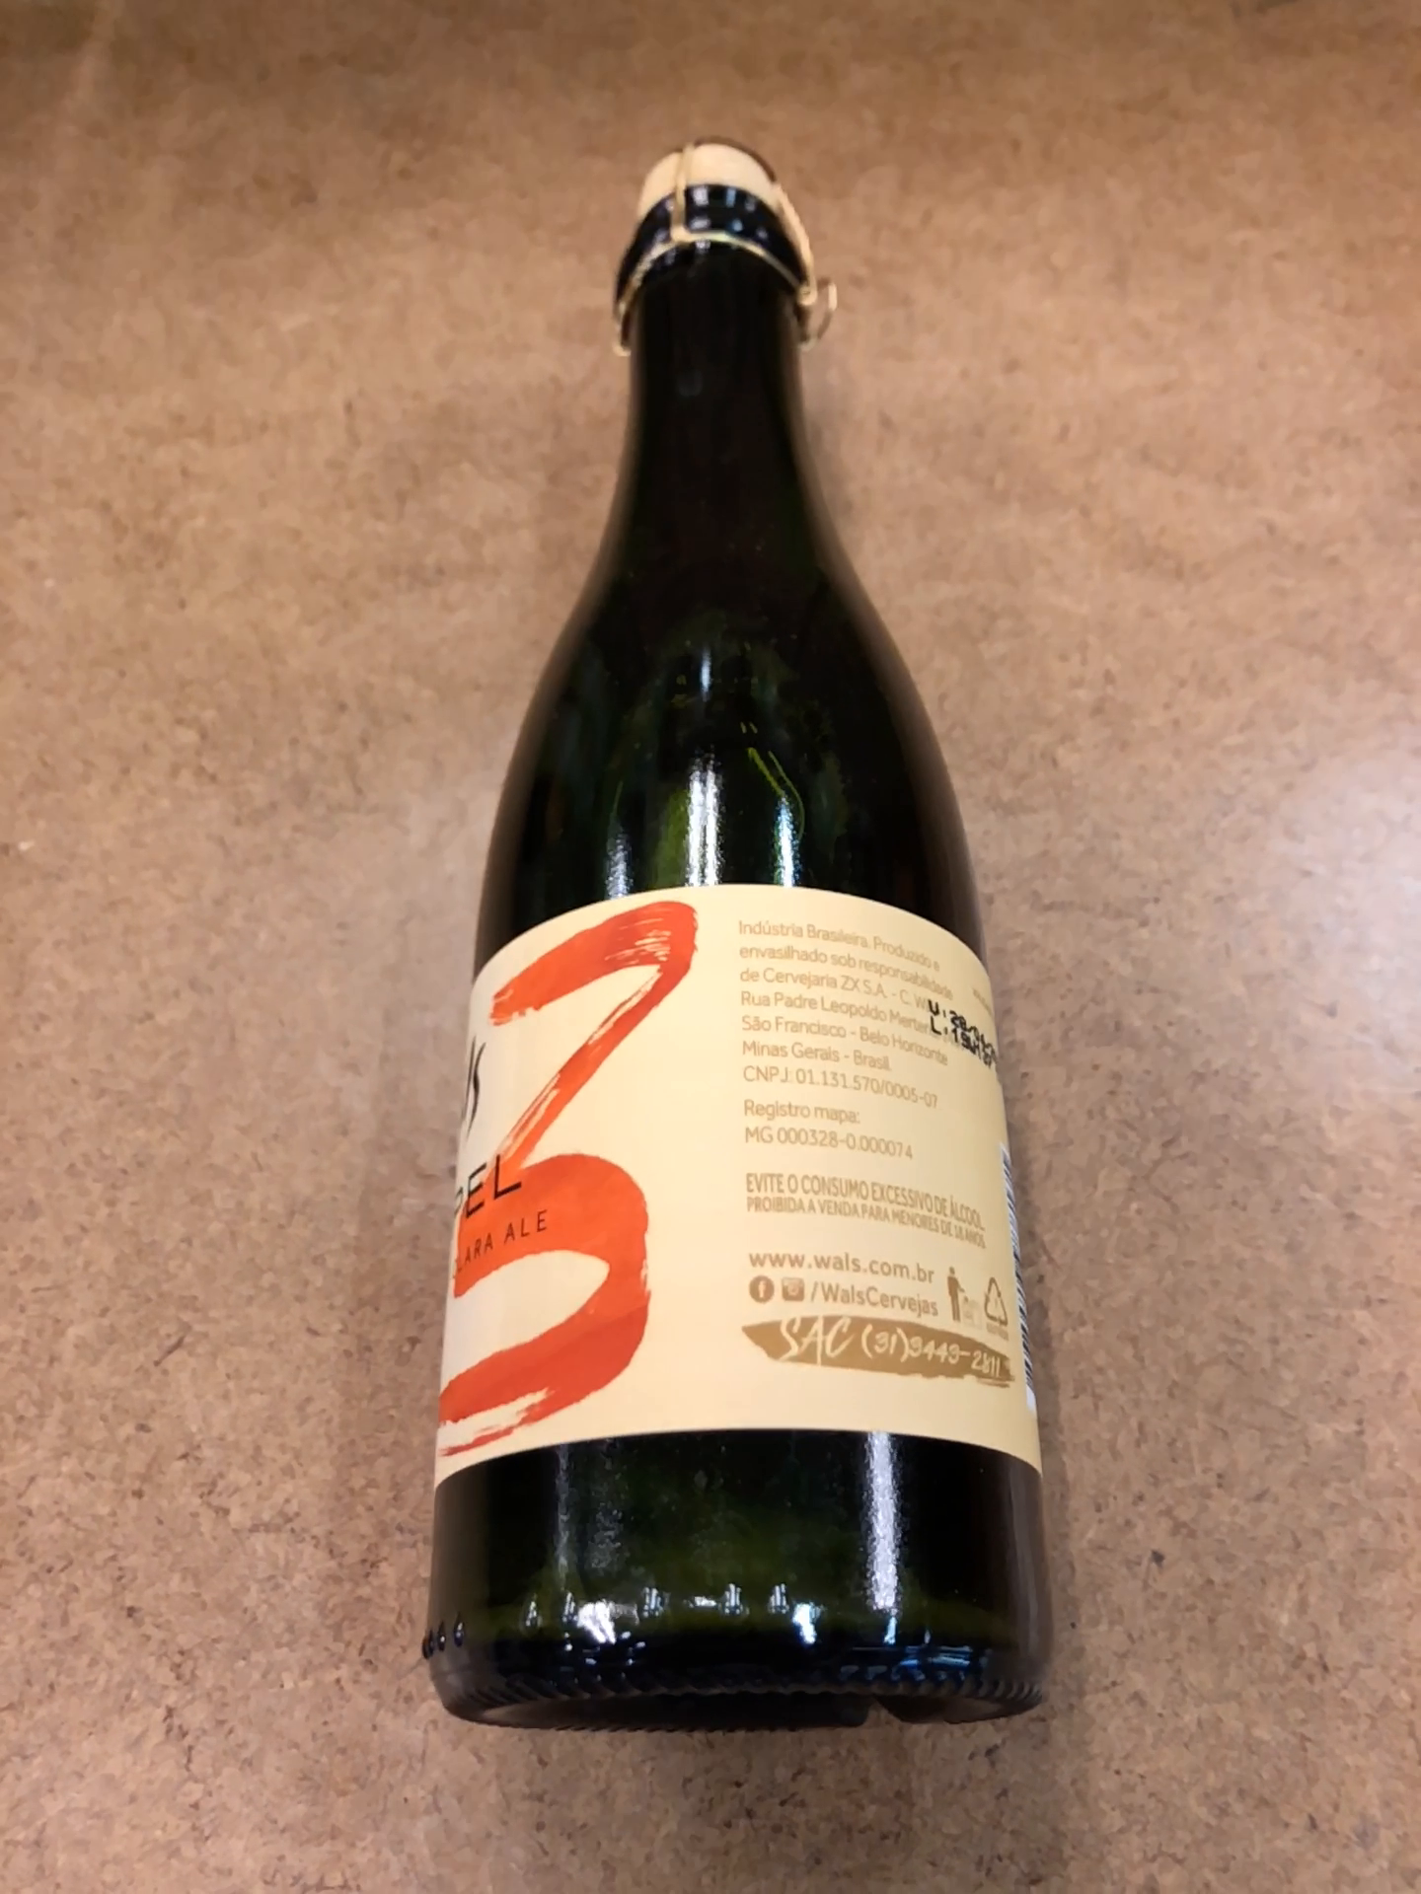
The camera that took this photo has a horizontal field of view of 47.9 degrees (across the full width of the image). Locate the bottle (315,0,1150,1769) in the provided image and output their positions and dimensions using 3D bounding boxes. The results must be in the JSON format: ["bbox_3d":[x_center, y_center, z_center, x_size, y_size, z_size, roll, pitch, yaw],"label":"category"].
[{"bbox_3d":[0.001,-0.039,0.223,0.070,0.050,0.271,-2,60,2],"label":"bottle"}]
